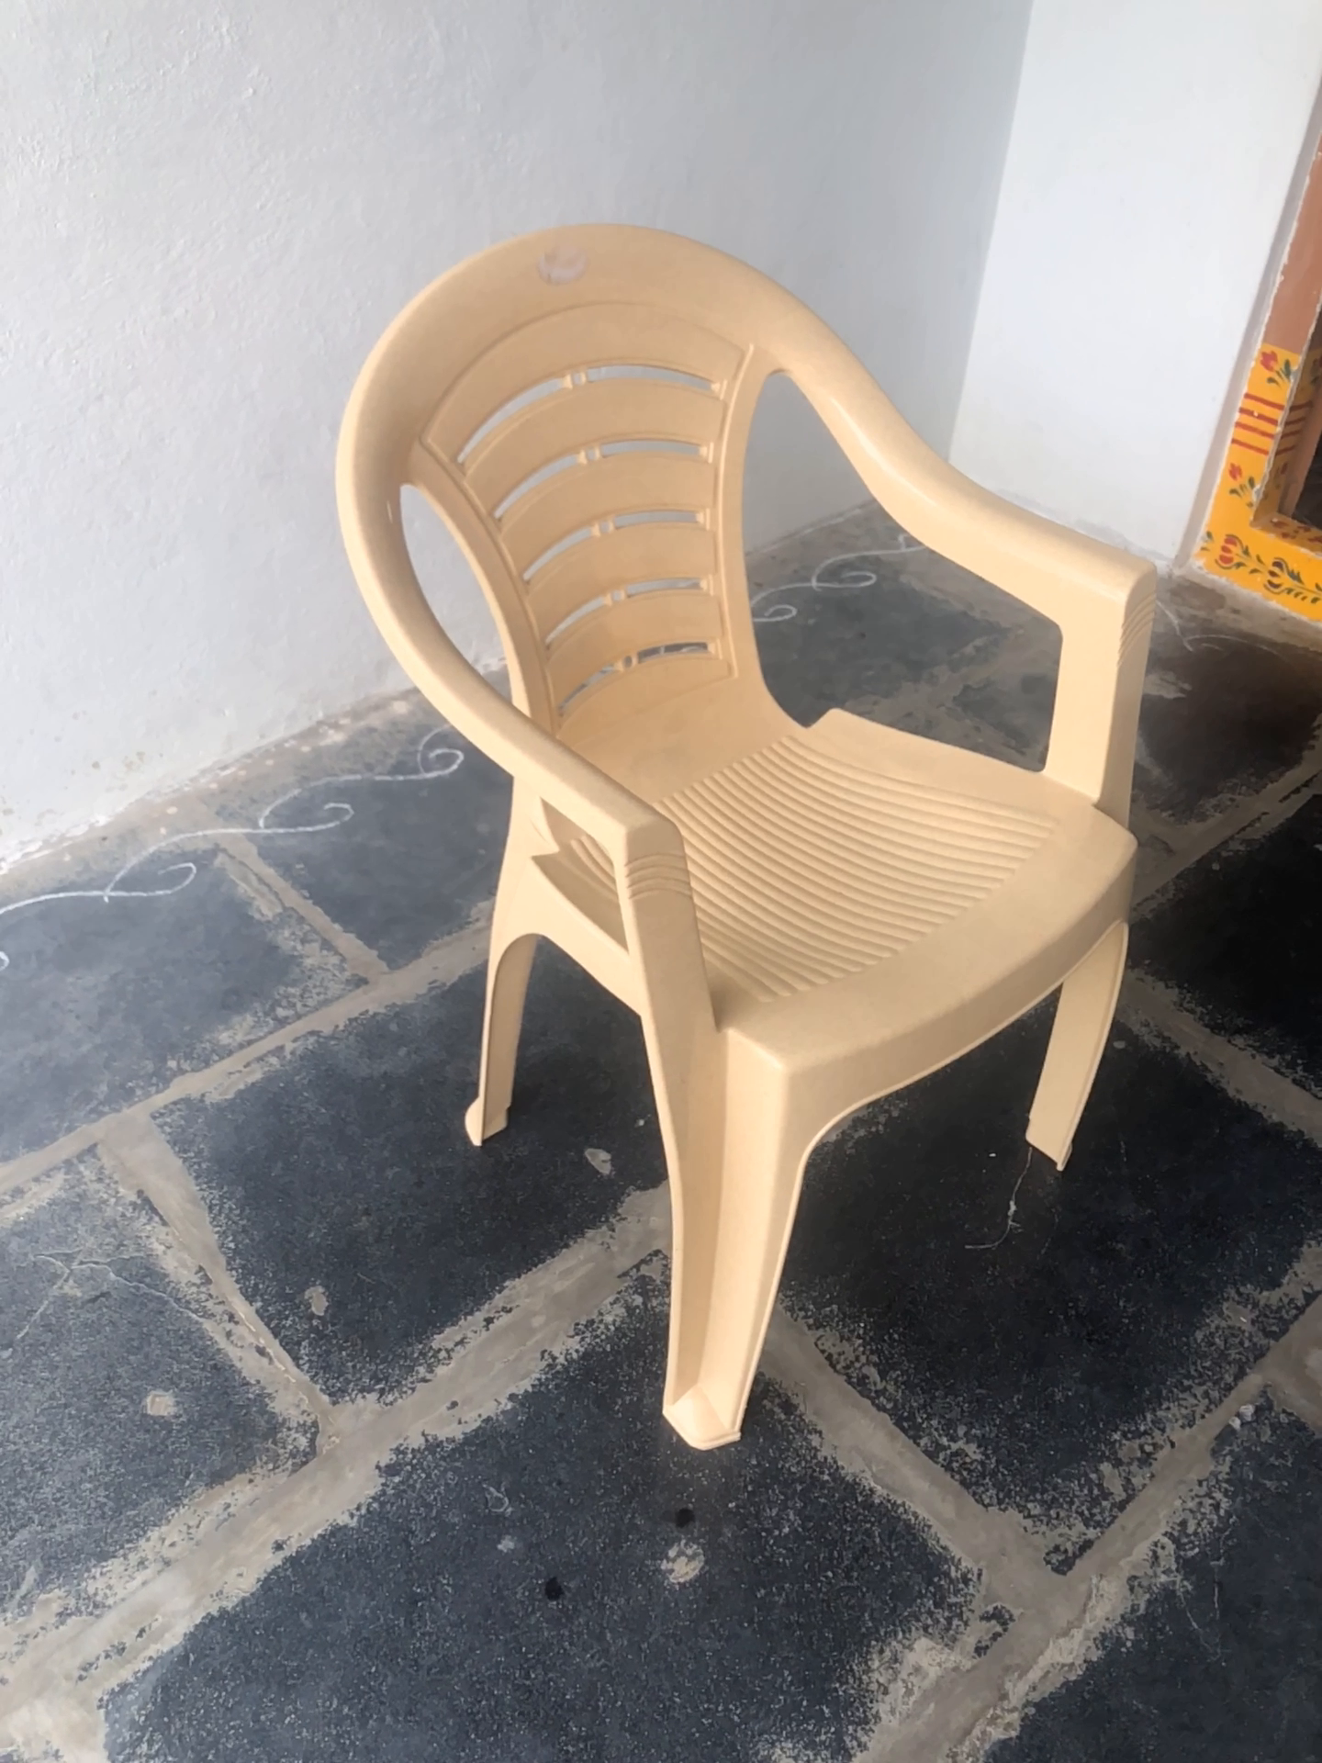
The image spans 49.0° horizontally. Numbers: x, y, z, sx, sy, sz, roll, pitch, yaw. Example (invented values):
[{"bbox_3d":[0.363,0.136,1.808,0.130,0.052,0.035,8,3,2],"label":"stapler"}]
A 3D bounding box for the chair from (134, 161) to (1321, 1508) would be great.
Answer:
[{"bbox_3d":[0.079,-0.095,1.220,0.651,0.736,0.623,32,47,31],"label":"chair"}]
